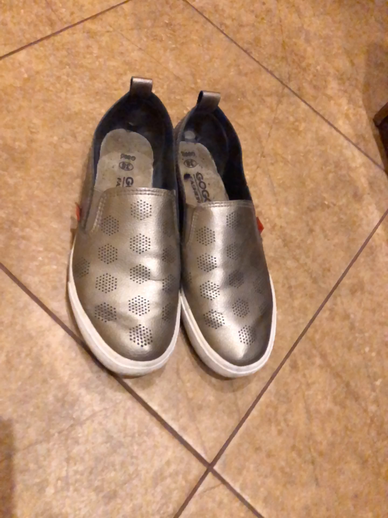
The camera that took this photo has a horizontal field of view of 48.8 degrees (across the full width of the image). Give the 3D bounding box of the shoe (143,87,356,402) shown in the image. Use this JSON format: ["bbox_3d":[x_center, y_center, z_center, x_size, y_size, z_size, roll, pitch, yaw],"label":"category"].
[{"bbox_3d":[0.030,-0.013,0.375,0.100,0.110,0.241,-2,66,-20],"label":"shoe"}]

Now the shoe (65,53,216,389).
[{"bbox_3d":[-0.055,-0.031,0.355,0.090,0.100,0.251,2,65,-18],"label":"shoe"}]
